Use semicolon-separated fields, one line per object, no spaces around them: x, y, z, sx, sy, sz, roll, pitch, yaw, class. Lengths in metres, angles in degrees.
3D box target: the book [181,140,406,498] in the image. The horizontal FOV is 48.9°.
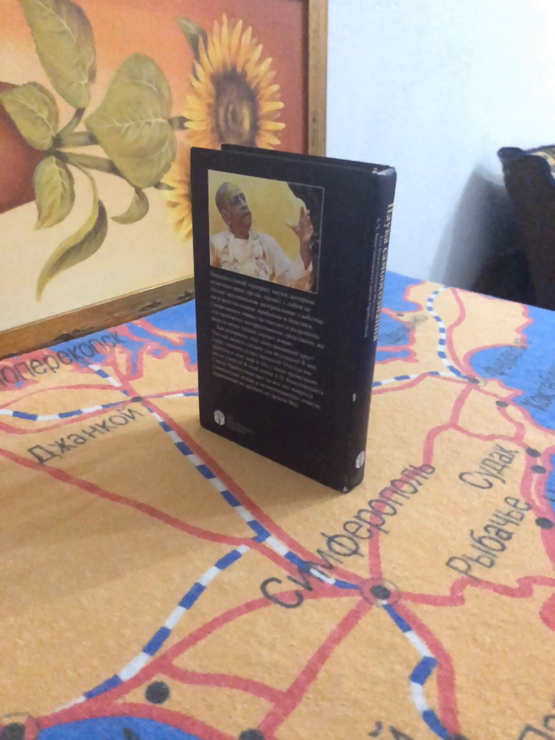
0.002;-0.034;0.400;0.140;0.205;0.030;20;32;33;book
